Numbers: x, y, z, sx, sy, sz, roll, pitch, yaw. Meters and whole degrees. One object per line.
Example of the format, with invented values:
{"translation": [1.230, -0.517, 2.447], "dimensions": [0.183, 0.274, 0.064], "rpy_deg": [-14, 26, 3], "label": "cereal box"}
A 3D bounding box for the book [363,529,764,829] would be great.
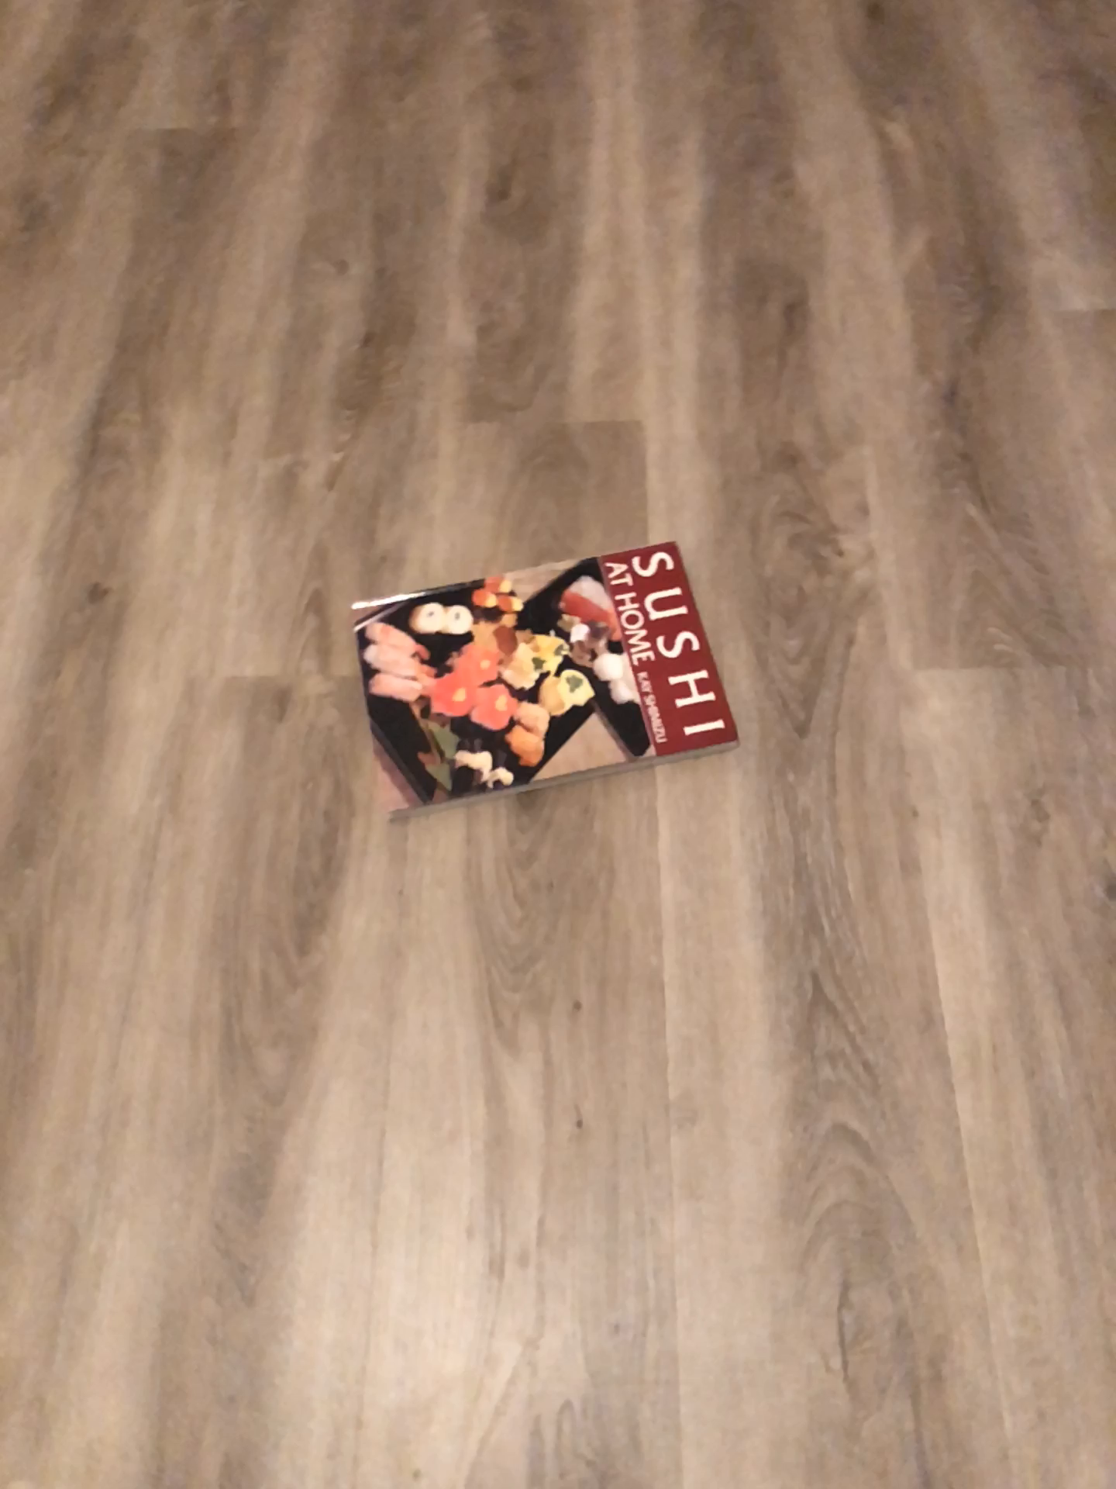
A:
{"translation": [-0.002, -0.054, 0.911], "dimensions": [0.258, 0.030, 0.191], "rpy_deg": [-11, 60, -4], "label": "book"}
